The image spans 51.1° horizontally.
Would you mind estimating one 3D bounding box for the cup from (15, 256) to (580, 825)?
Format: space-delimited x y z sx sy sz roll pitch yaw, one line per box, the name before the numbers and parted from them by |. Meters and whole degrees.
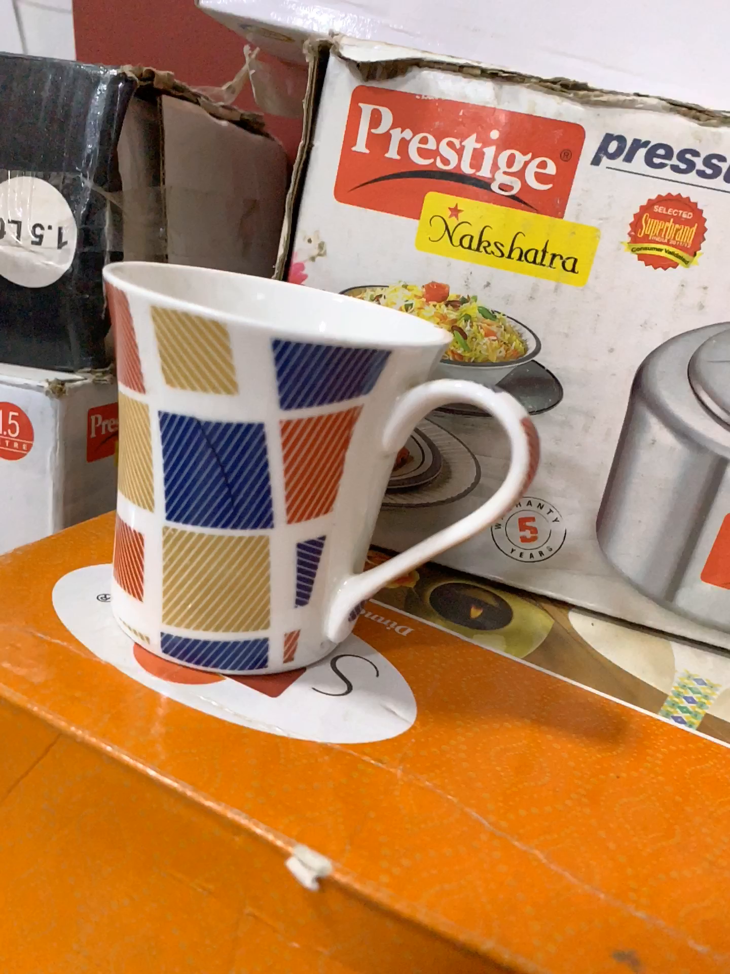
cup | -0.013 0.003 0.179 0.100 0.089 0.070 16 20 10
